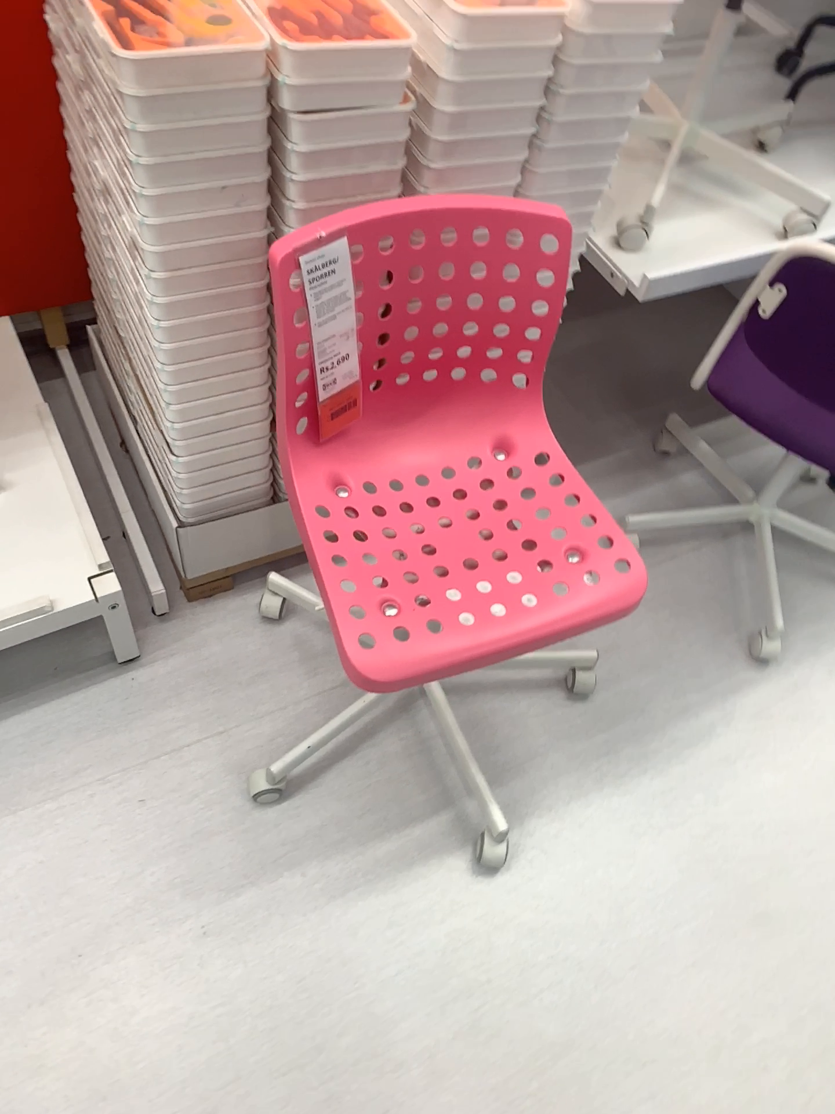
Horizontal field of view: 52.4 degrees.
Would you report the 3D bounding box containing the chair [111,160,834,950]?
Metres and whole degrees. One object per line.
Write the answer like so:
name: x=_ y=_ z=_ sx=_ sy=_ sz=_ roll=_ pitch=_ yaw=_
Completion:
chair: x=0.048 y=-0.011 z=1.198 sx=0.670 sy=0.688 sz=0.692 roll=-17 pitch=57 yaw=-20
